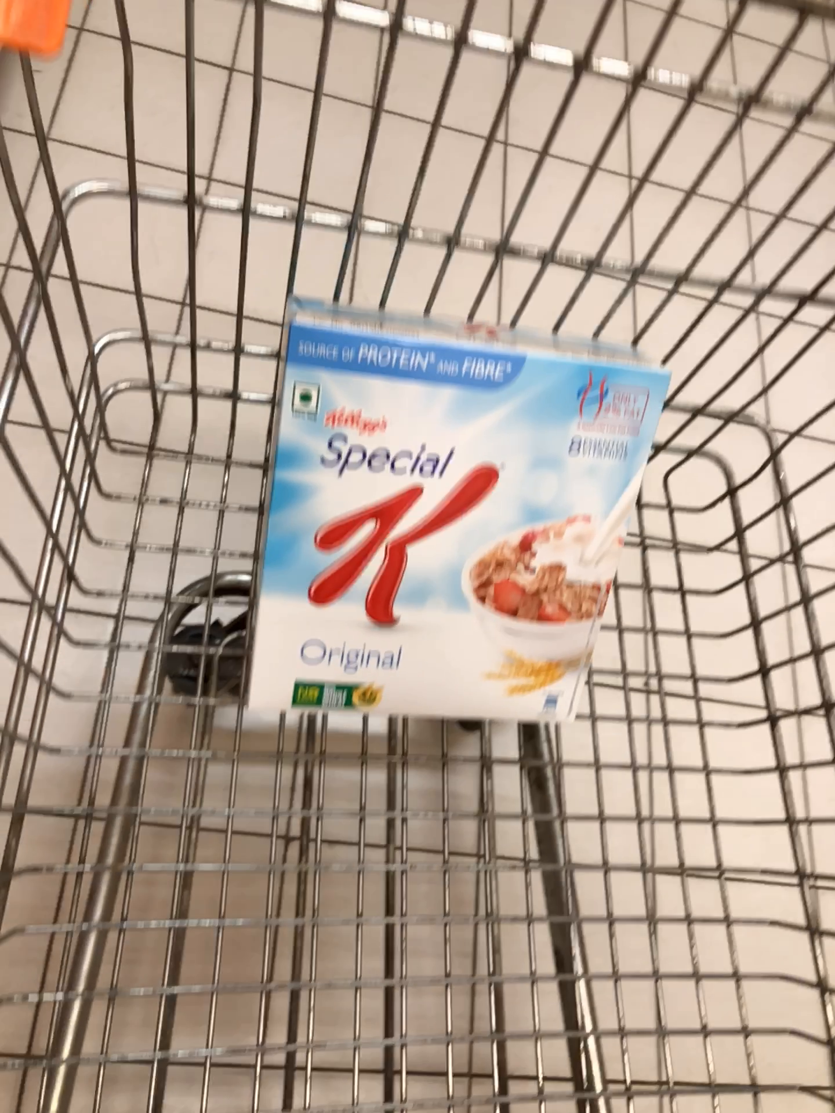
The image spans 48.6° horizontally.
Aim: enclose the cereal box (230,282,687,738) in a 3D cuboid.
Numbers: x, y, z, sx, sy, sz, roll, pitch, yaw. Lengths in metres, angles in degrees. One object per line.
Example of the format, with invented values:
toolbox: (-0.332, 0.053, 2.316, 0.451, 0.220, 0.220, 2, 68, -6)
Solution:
cereal box: (0.009, -0.016, 0.479, 0.190, 0.209, 0.070, 4, 25, -14)
